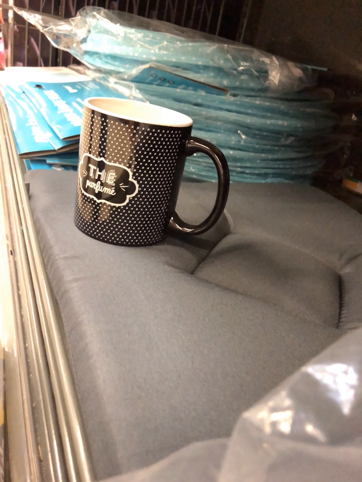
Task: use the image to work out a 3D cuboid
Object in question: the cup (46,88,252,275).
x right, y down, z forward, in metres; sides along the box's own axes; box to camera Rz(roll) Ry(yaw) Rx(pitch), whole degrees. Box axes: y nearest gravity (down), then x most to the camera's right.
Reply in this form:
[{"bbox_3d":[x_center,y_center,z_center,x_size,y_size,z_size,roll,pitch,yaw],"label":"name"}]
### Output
[{"bbox_3d":[-0.024,-0.054,0.315,0.120,0.099,0.091,19,25,13],"label":"cup"}]
